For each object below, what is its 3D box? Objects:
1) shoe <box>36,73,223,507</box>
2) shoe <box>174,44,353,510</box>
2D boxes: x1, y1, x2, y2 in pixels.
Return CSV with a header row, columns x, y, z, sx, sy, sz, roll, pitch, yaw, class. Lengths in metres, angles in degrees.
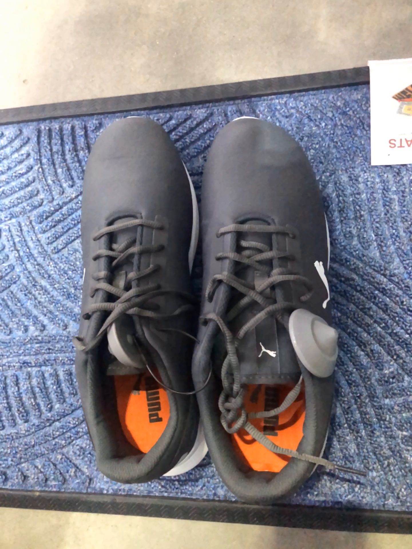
x,y,z,sx,sy,sz,roll,pitch,yaw,class
-0.058,0.012,0.372,0.110,0.100,0.300,-5,83,11,shoe
0.042,0.001,0.350,0.100,0.100,0.300,-4,83,11,shoe
